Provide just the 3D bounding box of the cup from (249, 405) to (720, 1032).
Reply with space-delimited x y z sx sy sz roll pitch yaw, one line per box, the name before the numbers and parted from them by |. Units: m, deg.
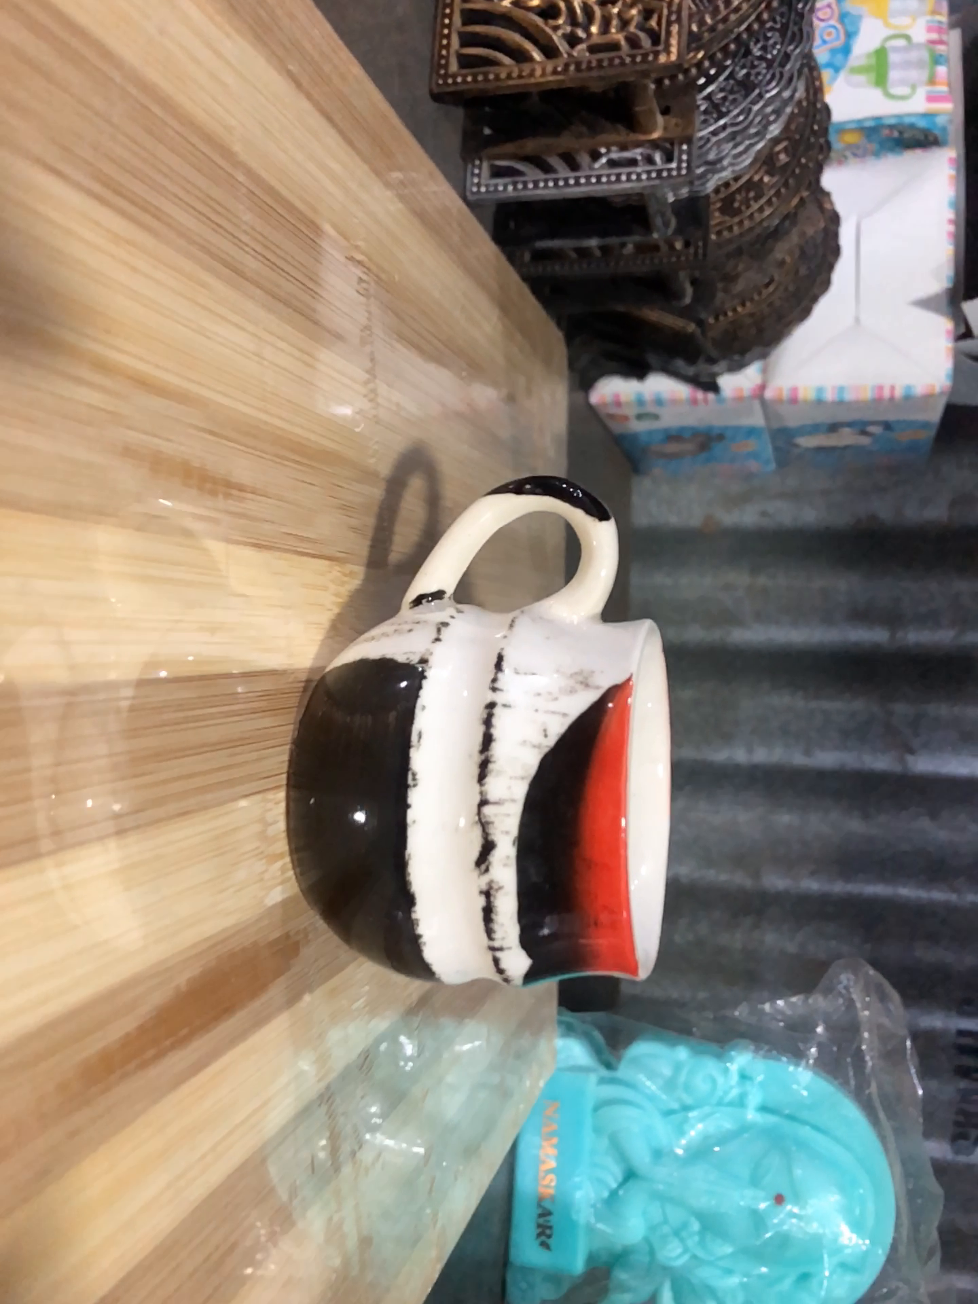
cup | 0.008 0.016 0.198 0.080 0.060 0.090 49 44 -70
